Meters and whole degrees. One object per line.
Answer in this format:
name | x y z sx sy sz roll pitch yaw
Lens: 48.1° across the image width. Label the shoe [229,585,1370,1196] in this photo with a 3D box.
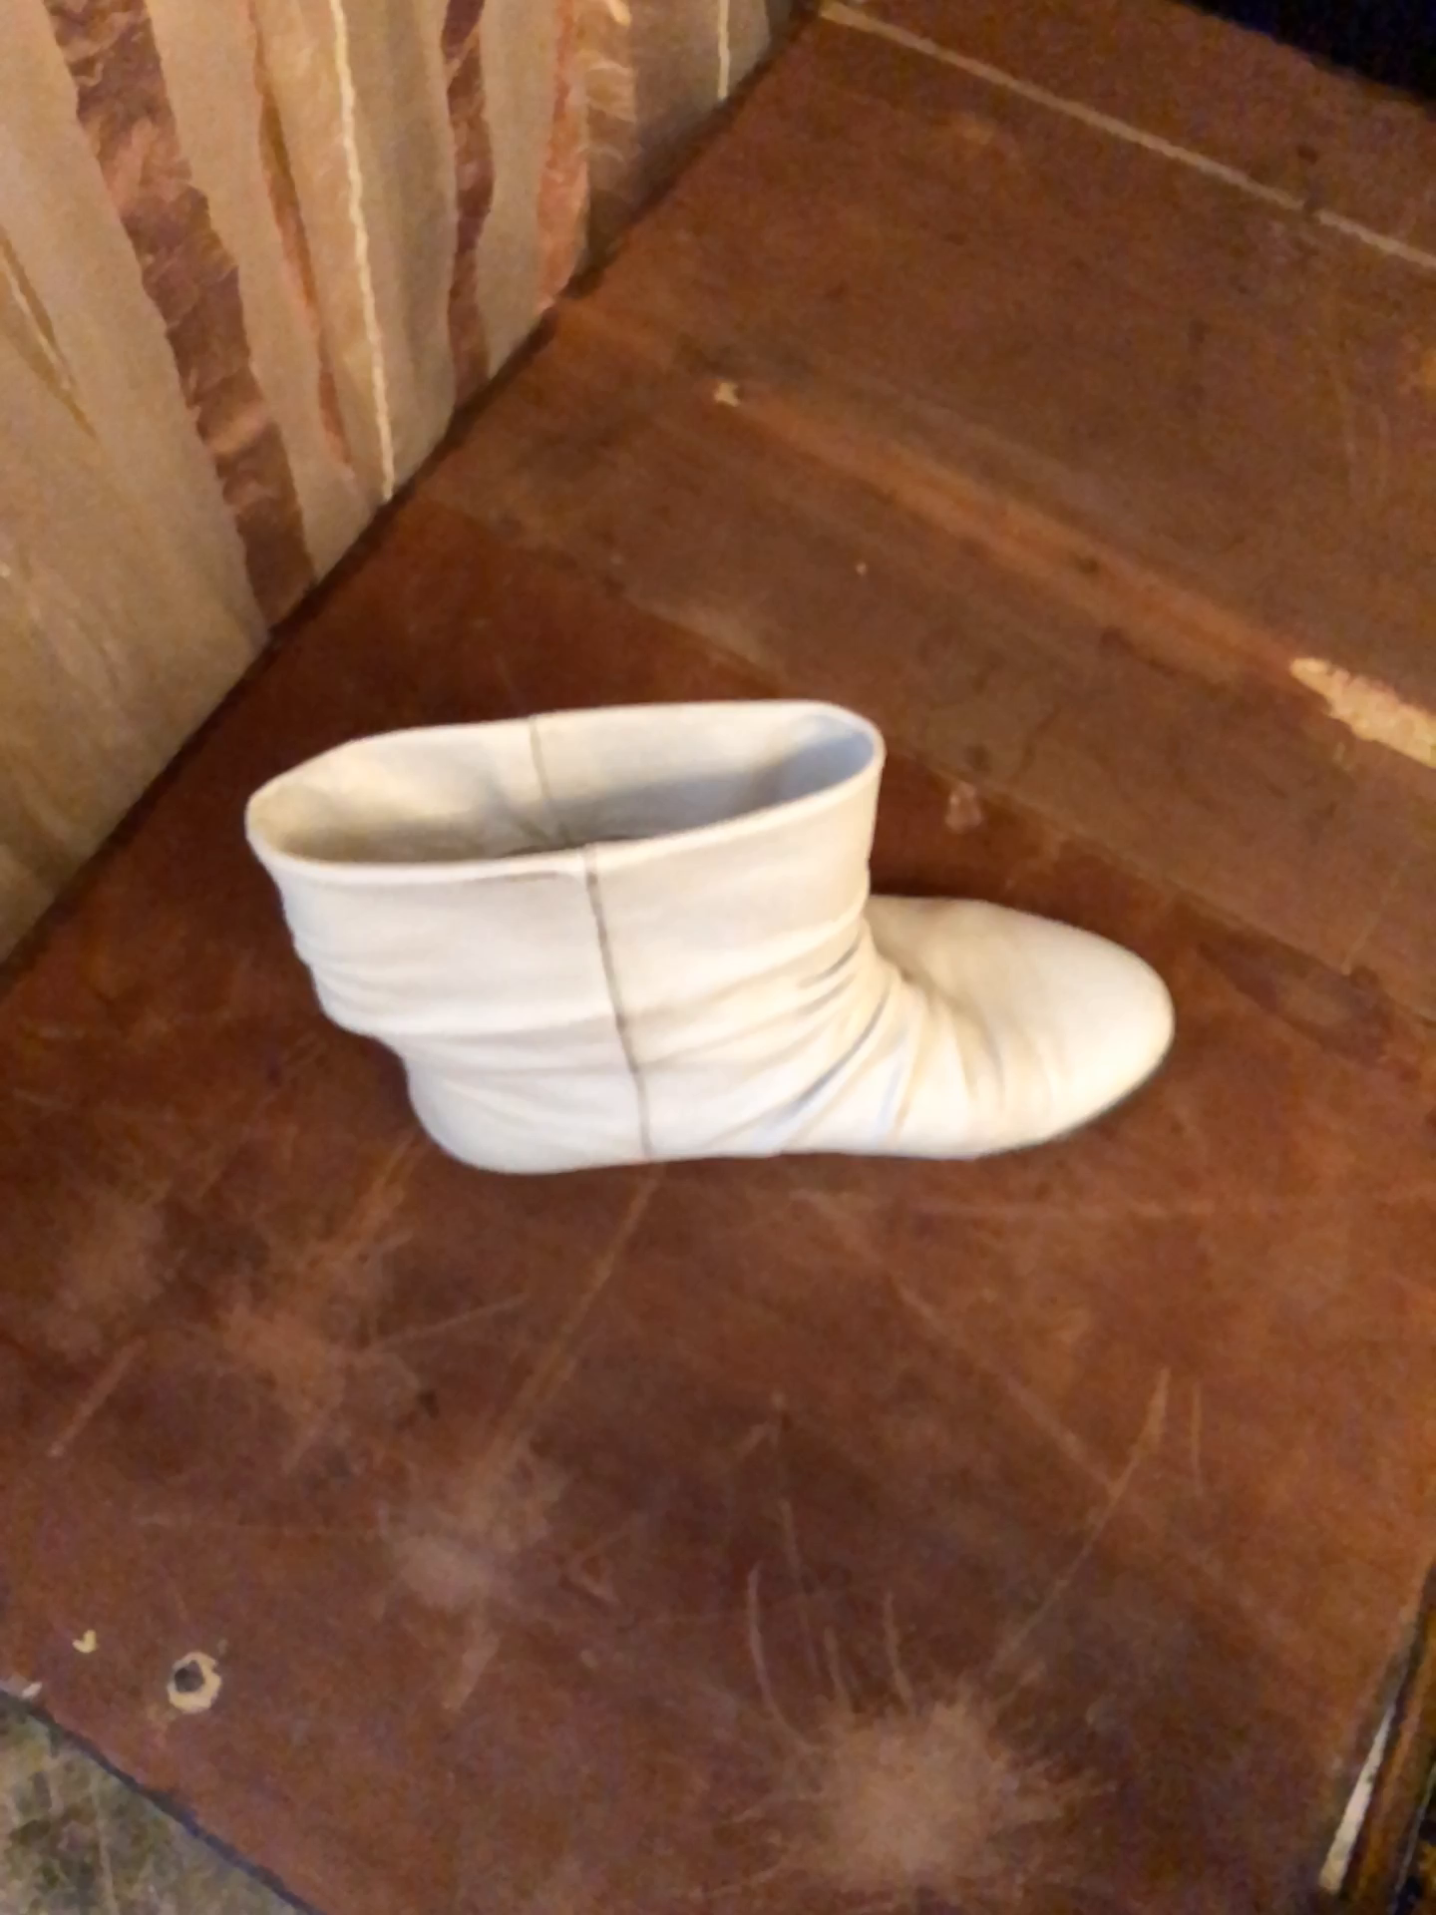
shoe | 0.015 -0.007 0.433 0.240 0.170 0.090 -3 67 -2
